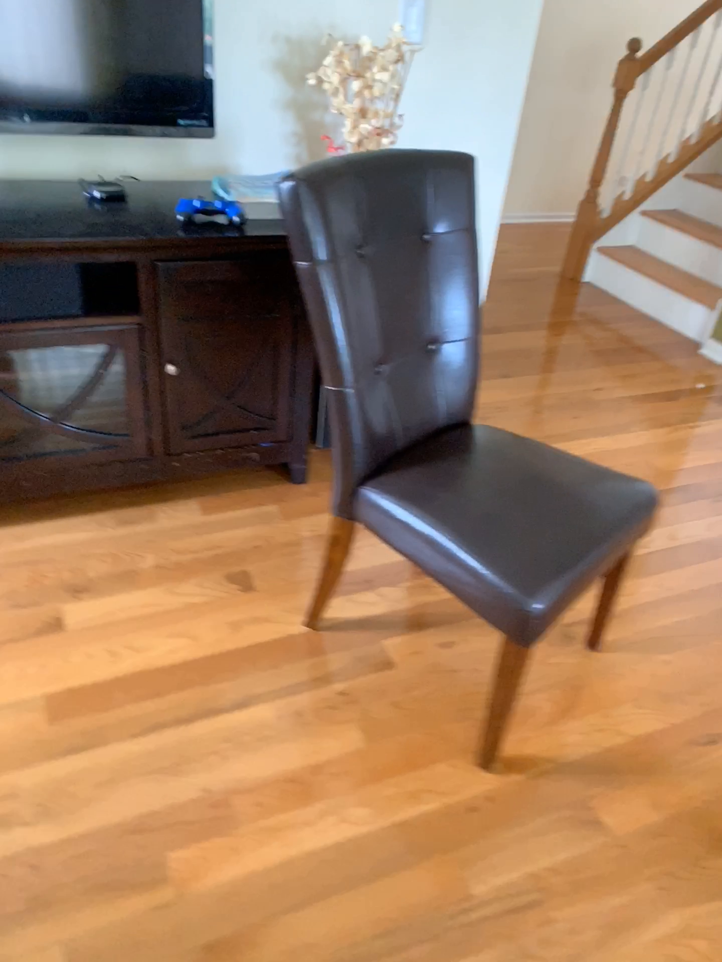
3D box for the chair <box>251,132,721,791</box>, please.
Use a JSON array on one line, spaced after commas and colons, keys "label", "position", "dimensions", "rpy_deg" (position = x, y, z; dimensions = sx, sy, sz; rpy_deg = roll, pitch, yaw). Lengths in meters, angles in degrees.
[{"label": "chair", "position": [0.217, -0.073, 1.436], "dimensions": [0.703, 0.968, 0.500], "rpy_deg": [30, 40, 31]}]
